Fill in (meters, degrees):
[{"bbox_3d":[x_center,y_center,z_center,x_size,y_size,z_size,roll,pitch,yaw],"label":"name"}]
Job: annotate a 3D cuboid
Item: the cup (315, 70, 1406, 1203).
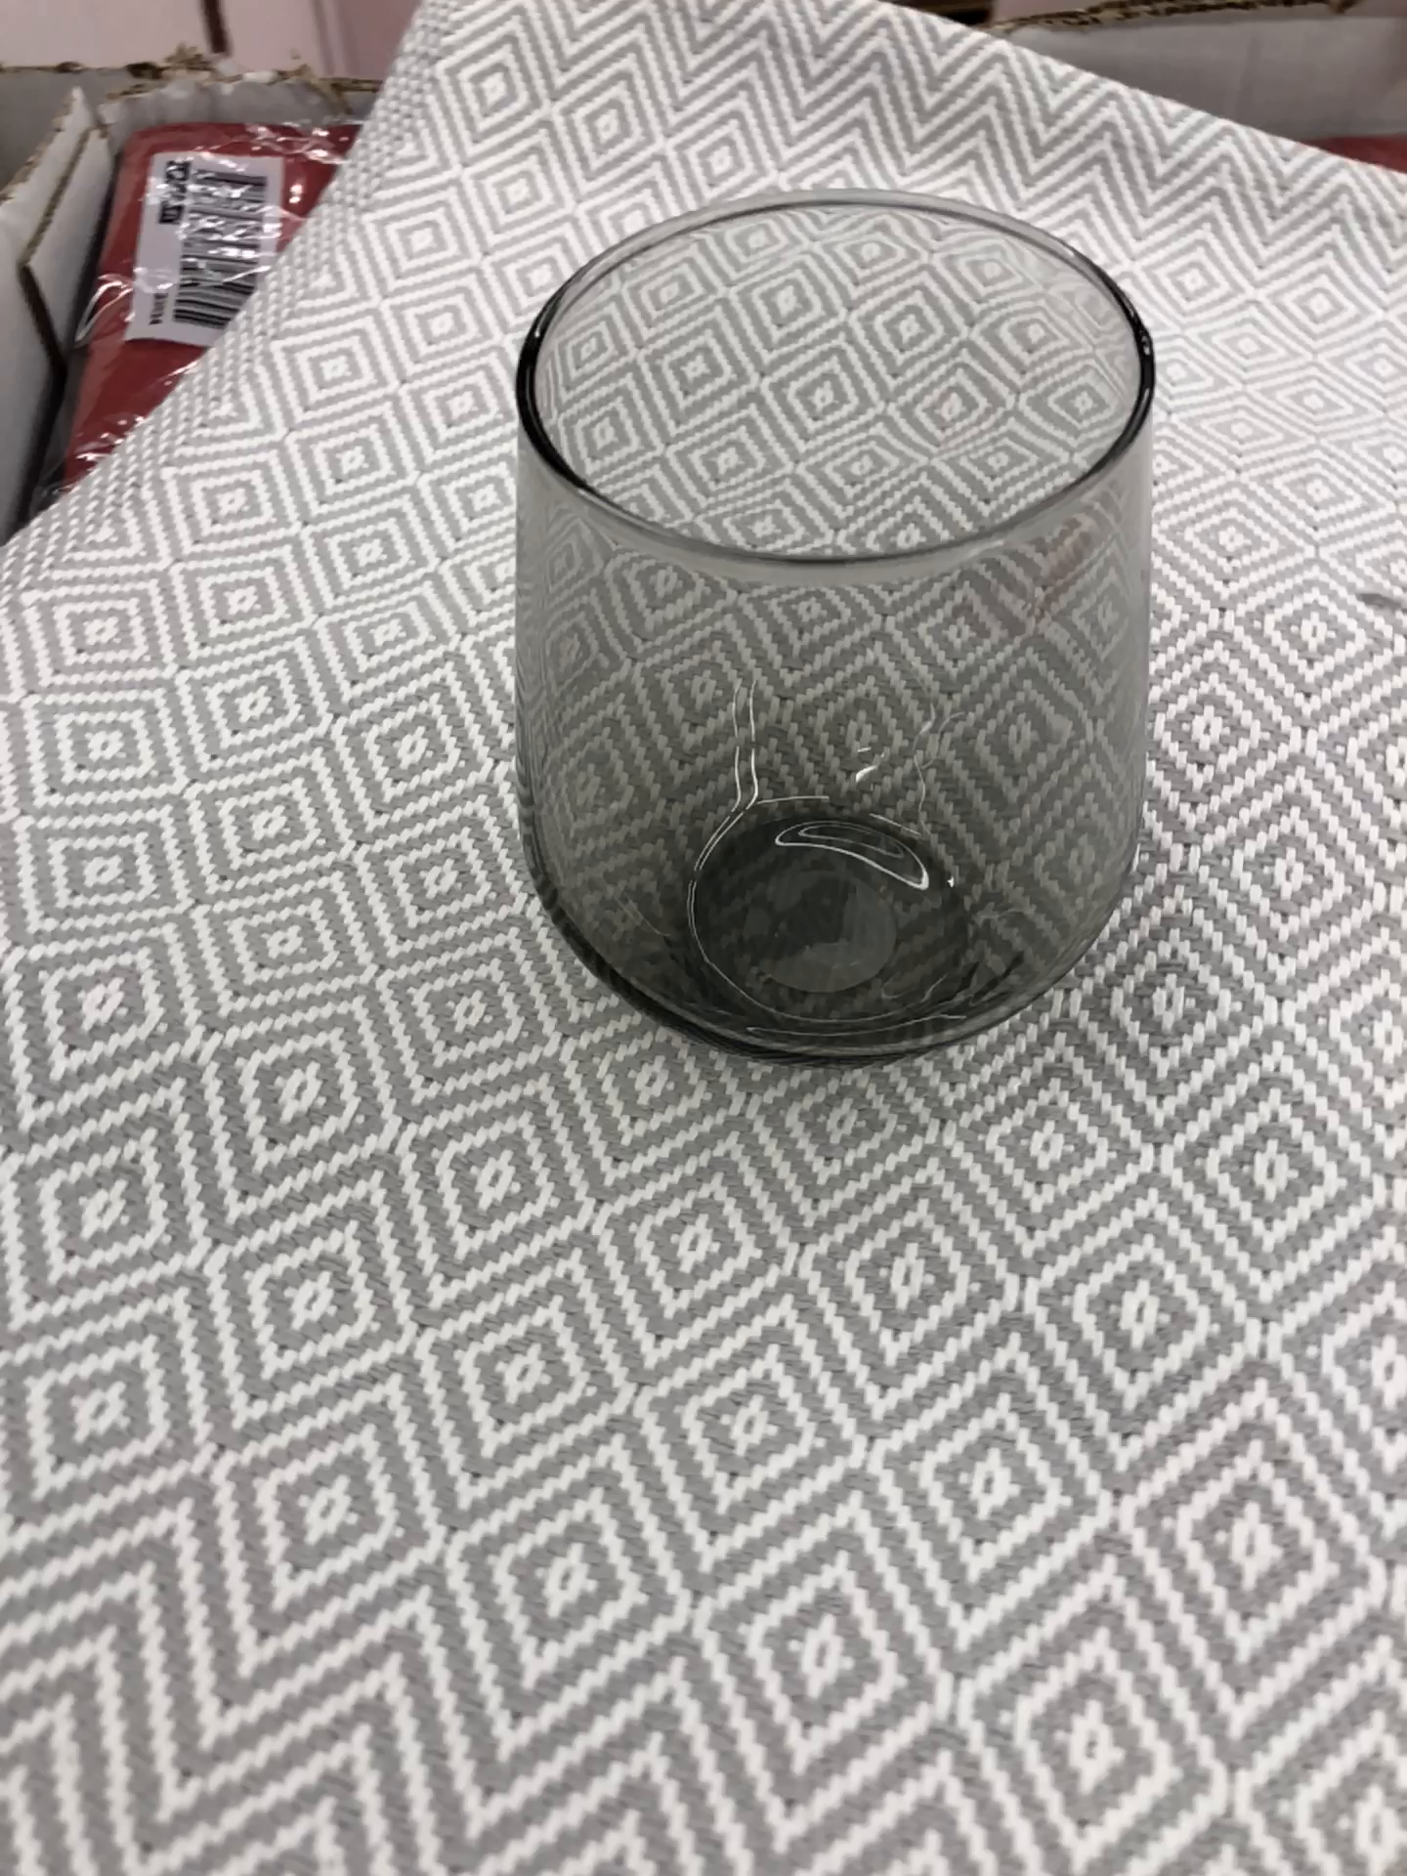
[{"bbox_3d":[0.014,-0.037,0.187,0.080,0.080,0.080,0,51,0],"label":"cup"}]
